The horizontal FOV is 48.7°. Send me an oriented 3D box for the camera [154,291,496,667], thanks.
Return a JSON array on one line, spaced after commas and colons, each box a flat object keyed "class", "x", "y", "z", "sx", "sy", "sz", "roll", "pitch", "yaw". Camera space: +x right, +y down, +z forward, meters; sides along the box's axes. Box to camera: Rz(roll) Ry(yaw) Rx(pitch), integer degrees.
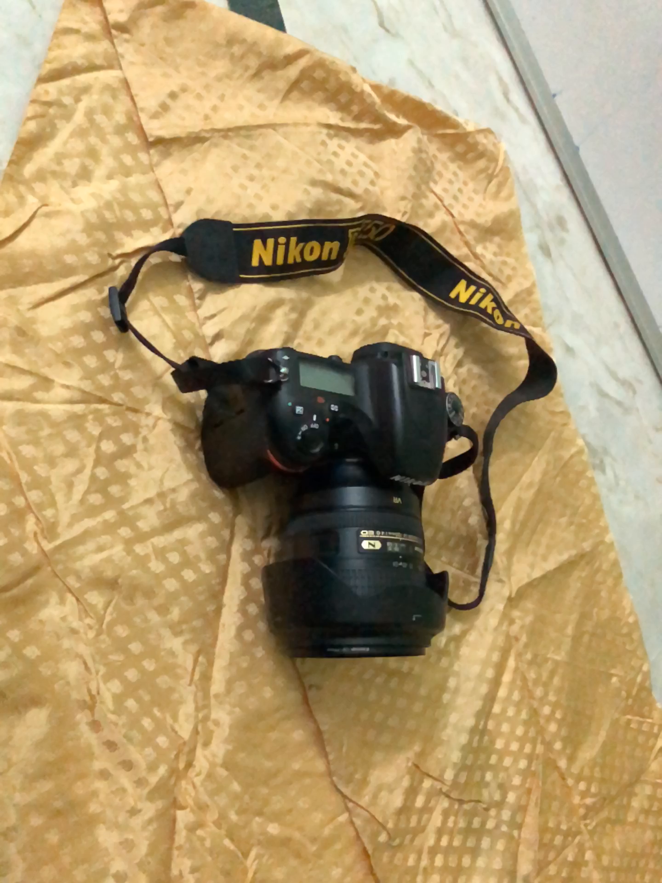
[{"class": "camera", "x": -0.004, "y": 0.030, "z": 0.413, "sx": 0.149, "sy": 0.109, "sz": 0.170, "roll": 8, "pitch": 75, "yaw": -35}]
